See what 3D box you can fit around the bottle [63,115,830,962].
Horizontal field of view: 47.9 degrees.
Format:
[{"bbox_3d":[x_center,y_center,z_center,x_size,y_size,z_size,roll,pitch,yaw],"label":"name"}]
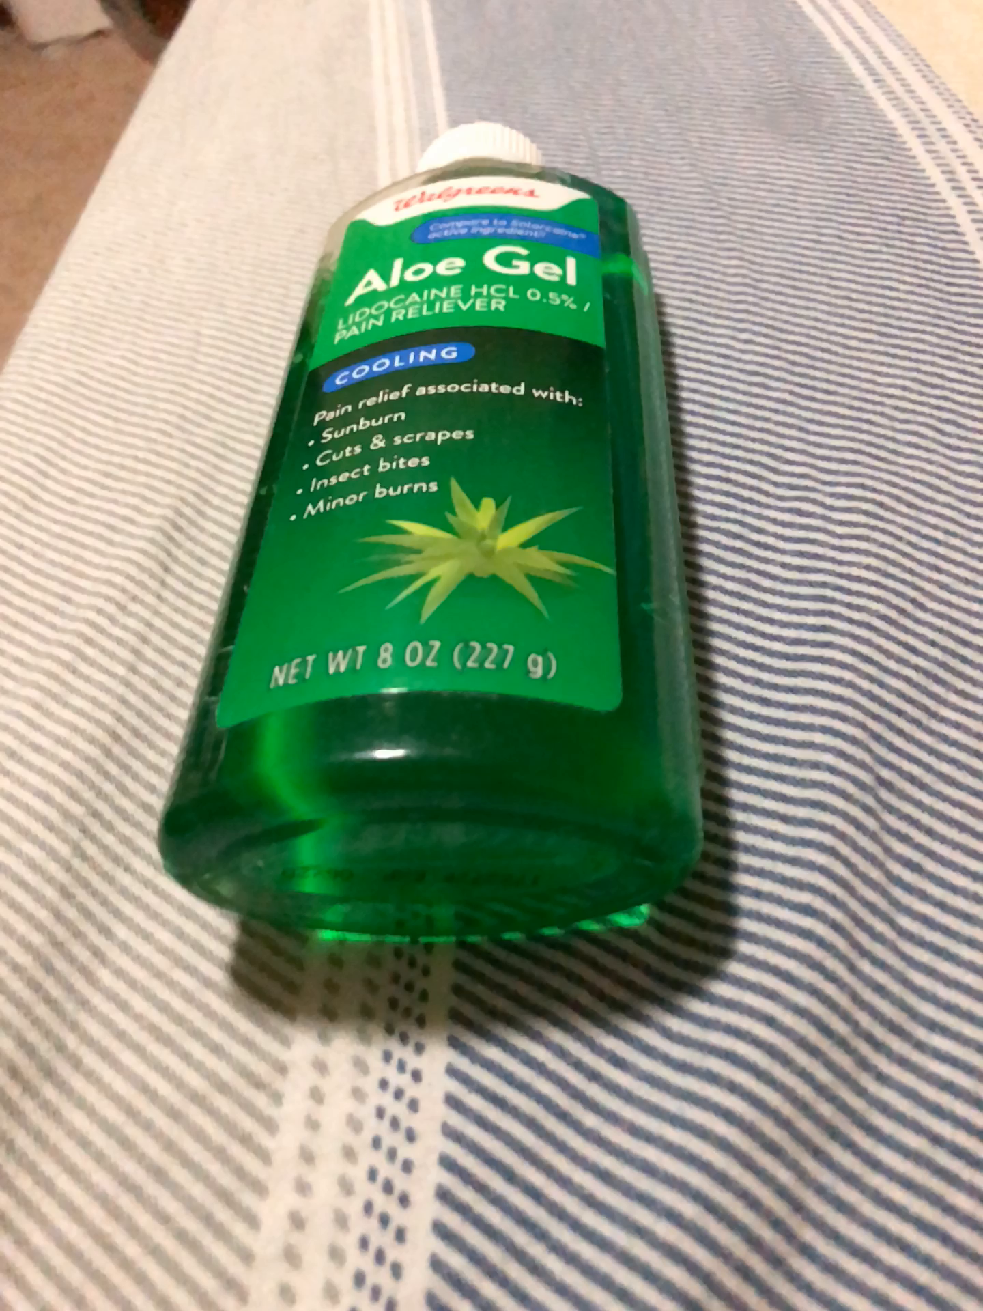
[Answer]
[{"bbox_3d":[-0.001,-0.039,0.187,0.080,0.030,0.180,0,47,3],"label":"bottle"}]
